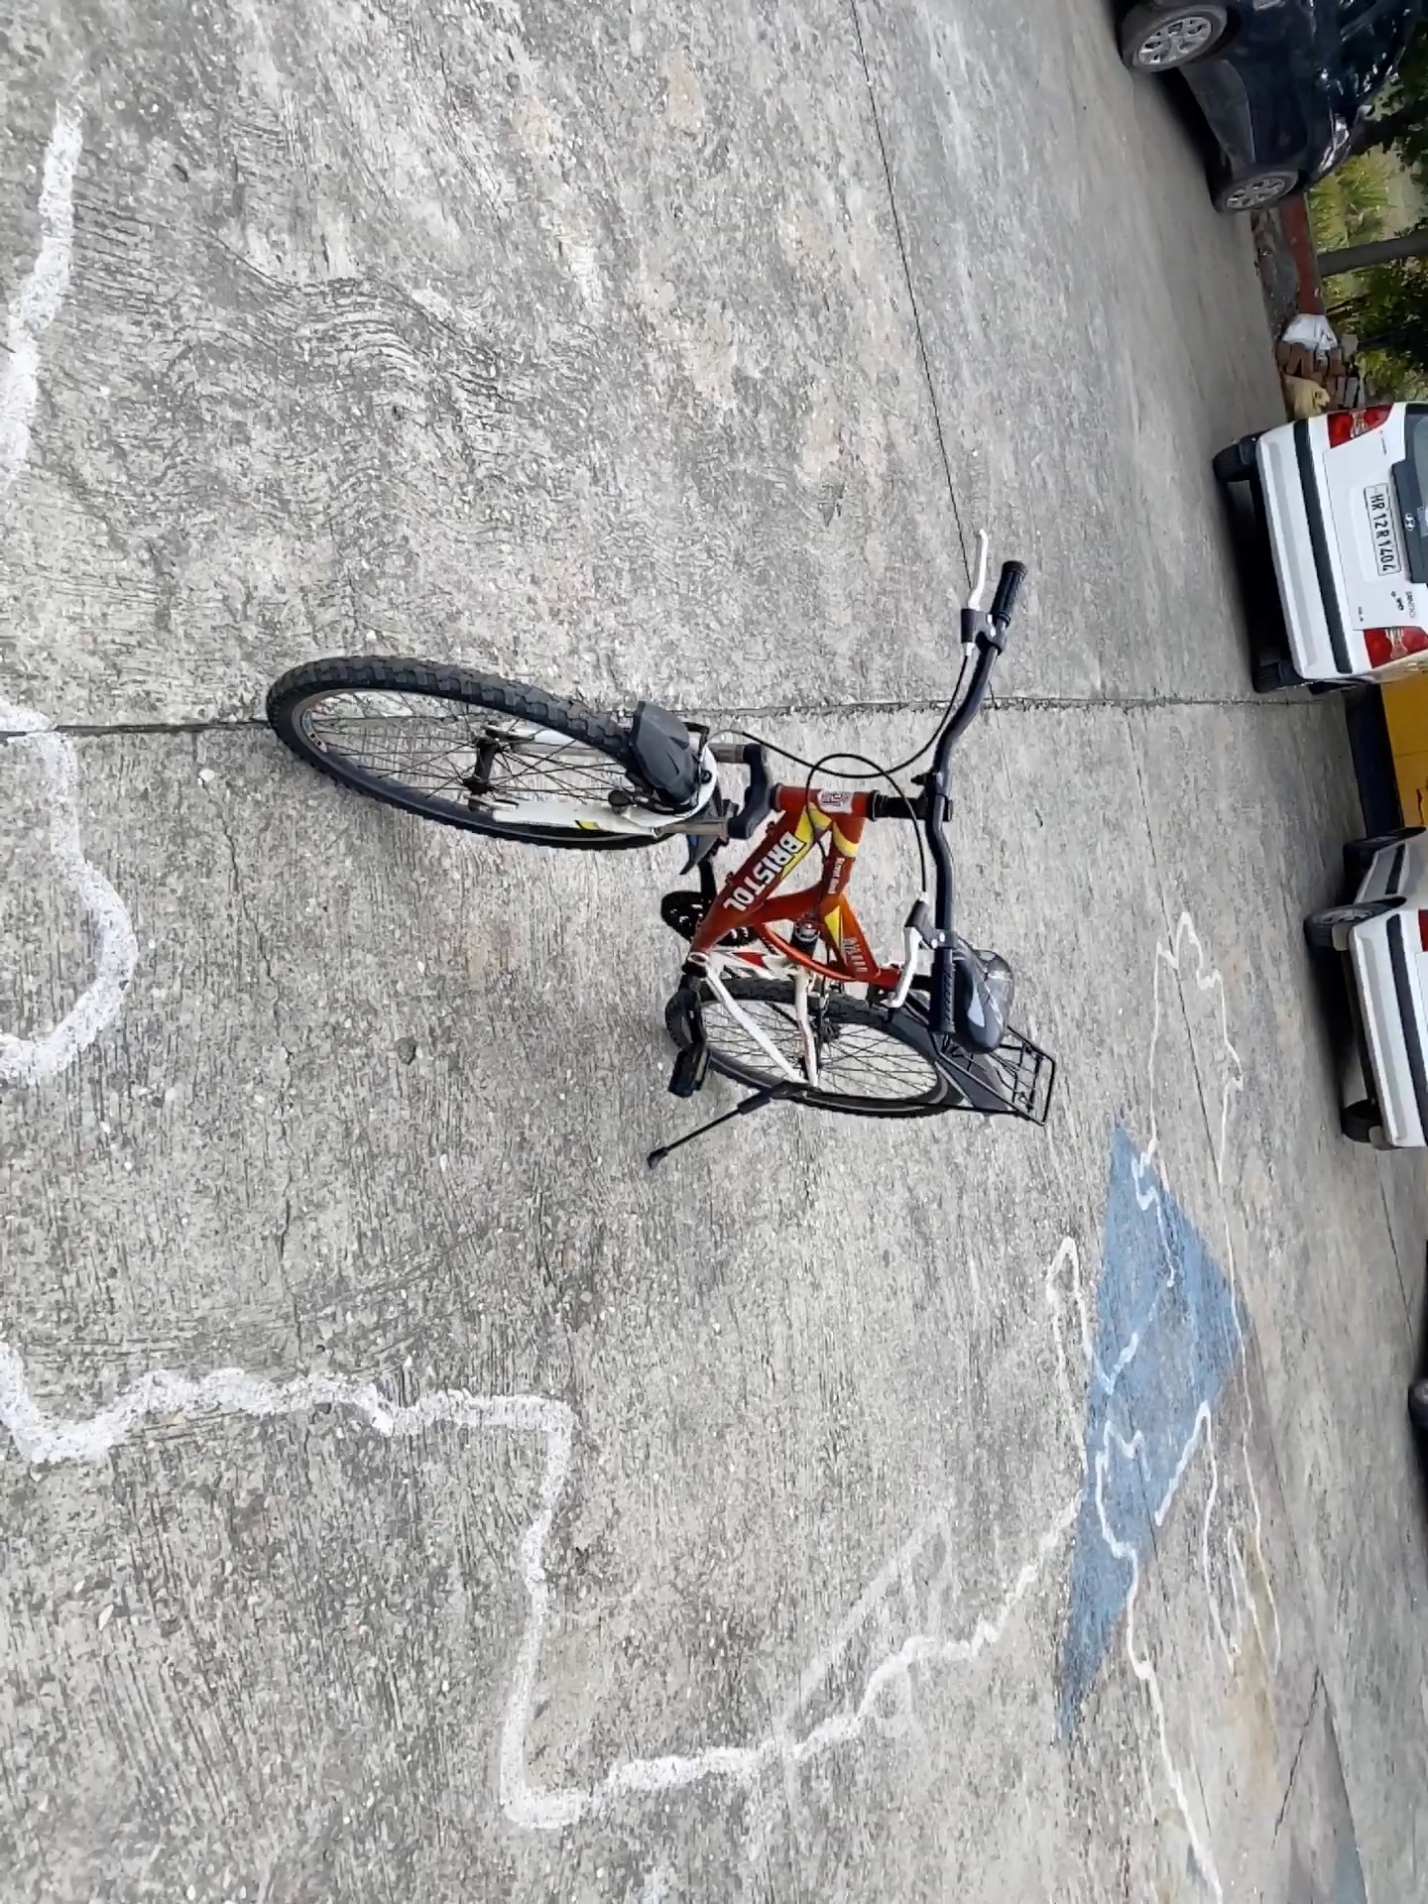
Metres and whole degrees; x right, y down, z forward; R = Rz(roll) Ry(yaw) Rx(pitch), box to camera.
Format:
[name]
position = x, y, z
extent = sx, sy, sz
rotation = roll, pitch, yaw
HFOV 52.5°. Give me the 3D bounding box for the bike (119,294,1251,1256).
[bike]
position = 0.107, -0.044, 2.227
extent = 1.519, 0.977, 0.585
rotation = 39, 50, -48
